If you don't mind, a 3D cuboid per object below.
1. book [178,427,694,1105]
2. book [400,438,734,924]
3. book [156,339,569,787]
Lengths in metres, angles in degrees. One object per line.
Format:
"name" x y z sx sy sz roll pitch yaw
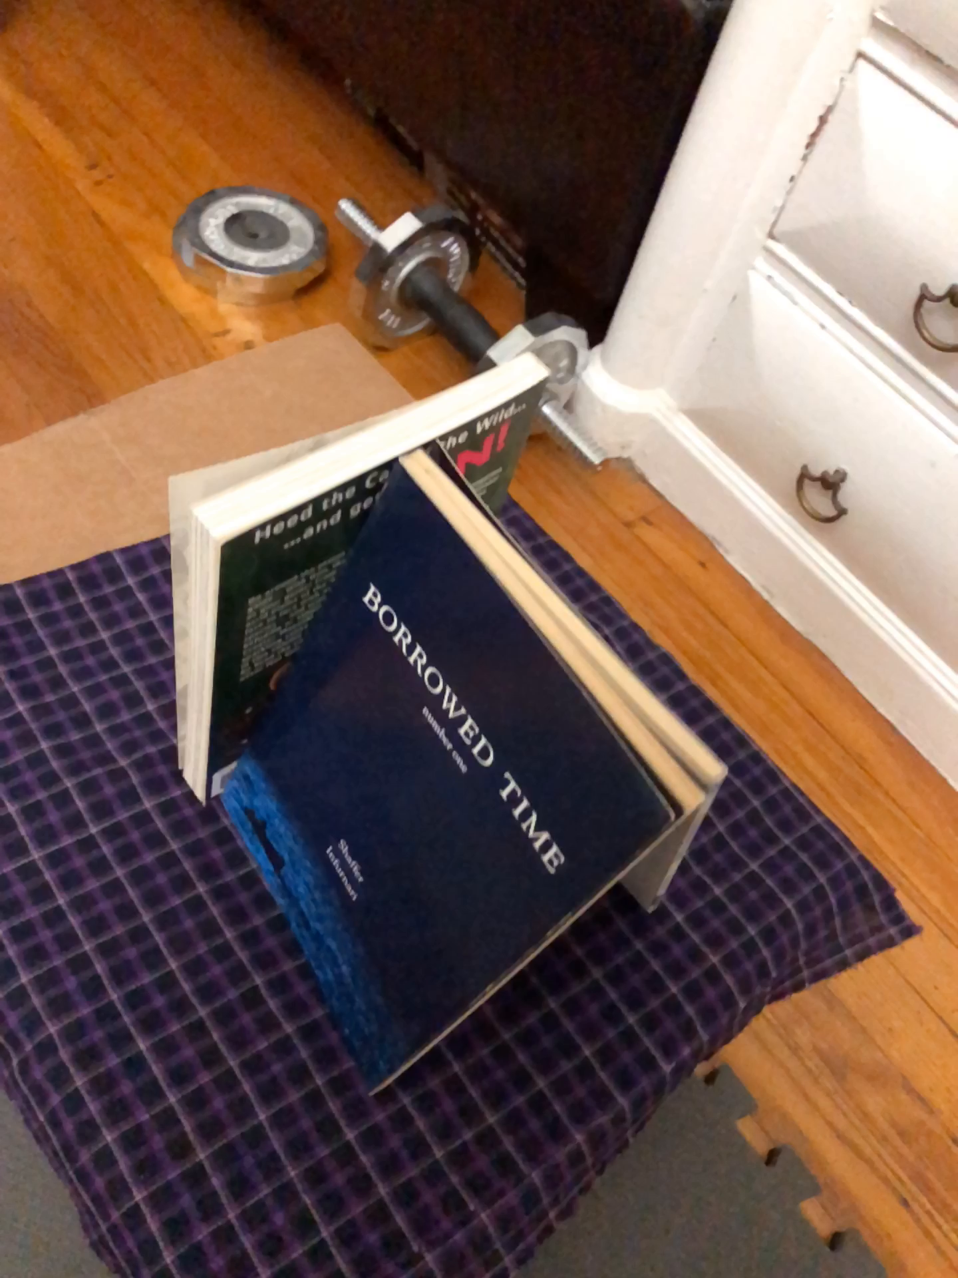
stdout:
"book" -0.035 0.053 0.368 0.010 0.199 0.150 -13 58 -46
"book" 0.028 0.030 0.397 0.010 0.199 0.140 -36 68 -12
"book" -0.054 -0.021 0.408 0.140 0.189 0.020 -30 74 -30
